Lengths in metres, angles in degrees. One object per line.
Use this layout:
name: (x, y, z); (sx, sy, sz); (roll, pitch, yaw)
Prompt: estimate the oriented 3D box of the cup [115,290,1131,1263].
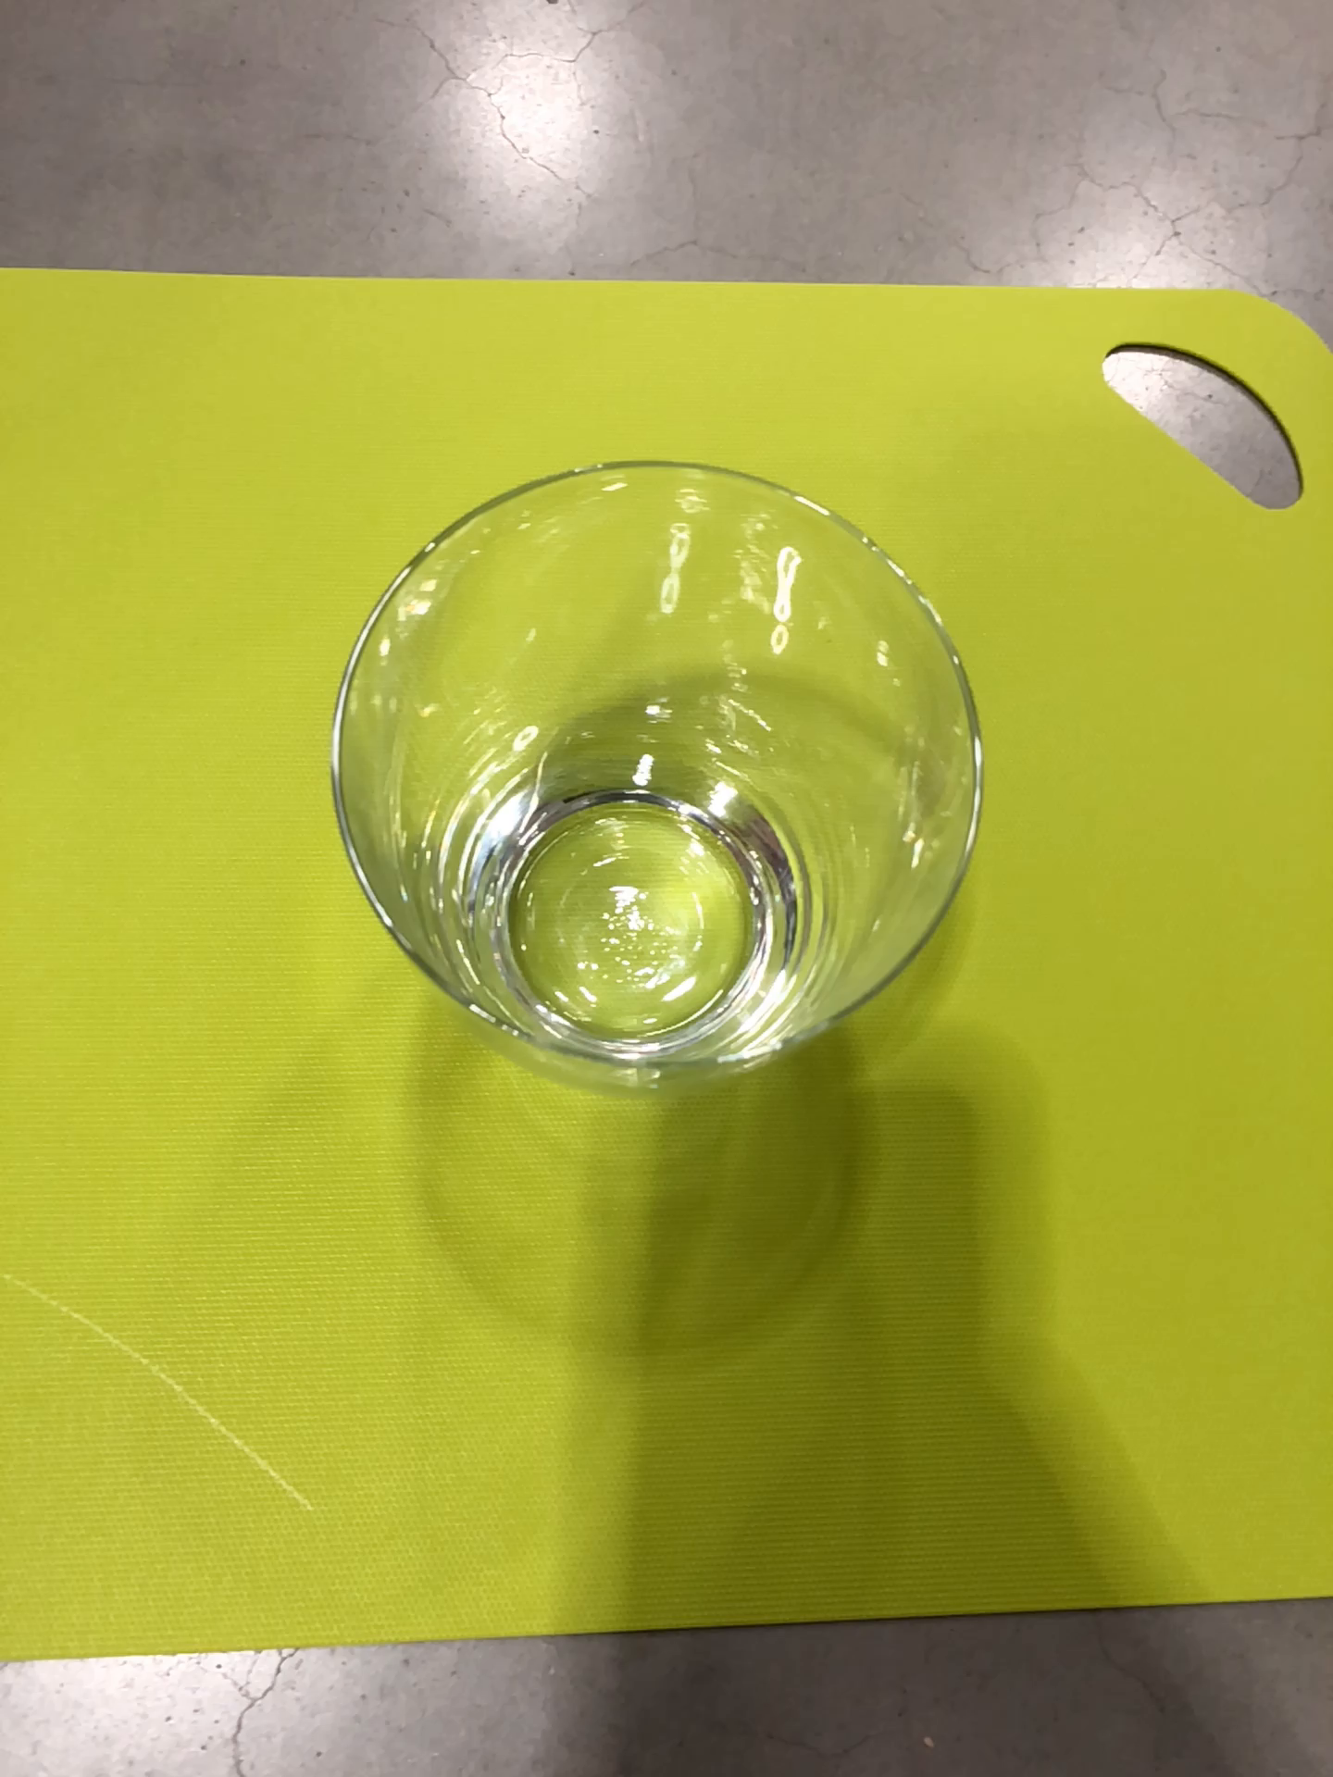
cup: (-0.010, -0.013, 0.261); (0.110, 0.090, 0.110); (1, 74, -3)
